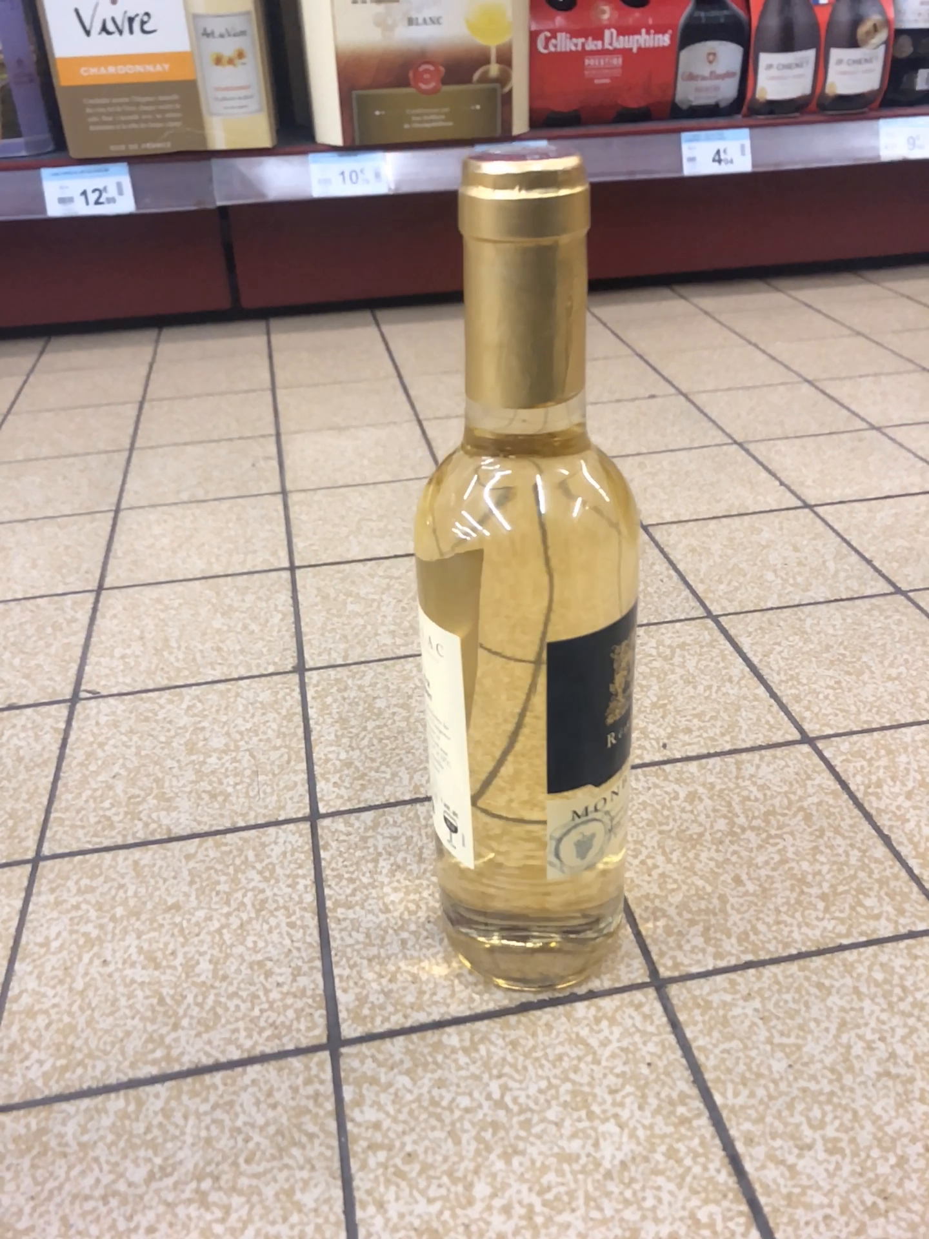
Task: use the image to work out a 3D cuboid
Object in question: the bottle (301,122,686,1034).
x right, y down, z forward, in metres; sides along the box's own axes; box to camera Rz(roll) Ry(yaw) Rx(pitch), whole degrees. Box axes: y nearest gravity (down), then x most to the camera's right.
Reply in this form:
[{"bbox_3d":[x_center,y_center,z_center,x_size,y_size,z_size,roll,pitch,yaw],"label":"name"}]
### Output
[{"bbox_3d":[0.014,0.000,0.281,0.070,0.239,0.070,-2,31,1],"label":"bottle"}]
